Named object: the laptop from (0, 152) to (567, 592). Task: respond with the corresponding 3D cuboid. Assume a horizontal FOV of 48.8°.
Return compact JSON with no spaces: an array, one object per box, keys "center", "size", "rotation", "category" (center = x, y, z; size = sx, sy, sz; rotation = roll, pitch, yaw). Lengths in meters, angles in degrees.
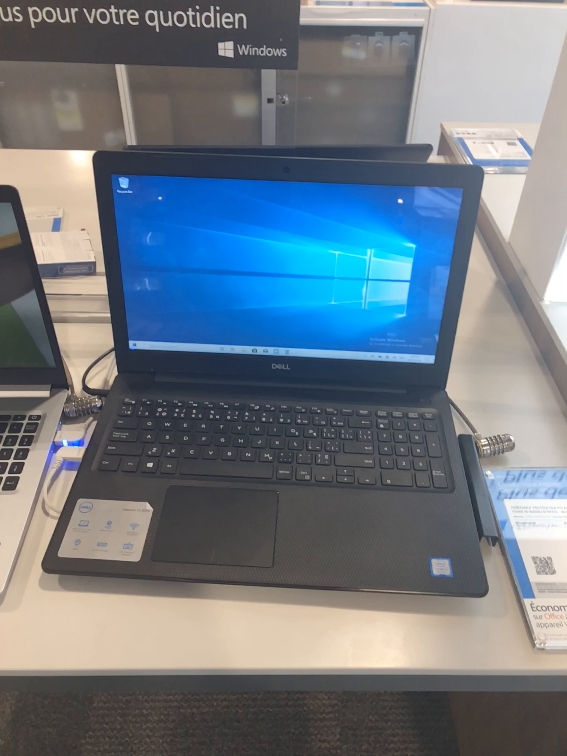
[{"center":[-0.010,-0.022,0.563],"size":[0.368,0.230,0.311],"rotation":[3,41,1],"category":"laptop"}]
